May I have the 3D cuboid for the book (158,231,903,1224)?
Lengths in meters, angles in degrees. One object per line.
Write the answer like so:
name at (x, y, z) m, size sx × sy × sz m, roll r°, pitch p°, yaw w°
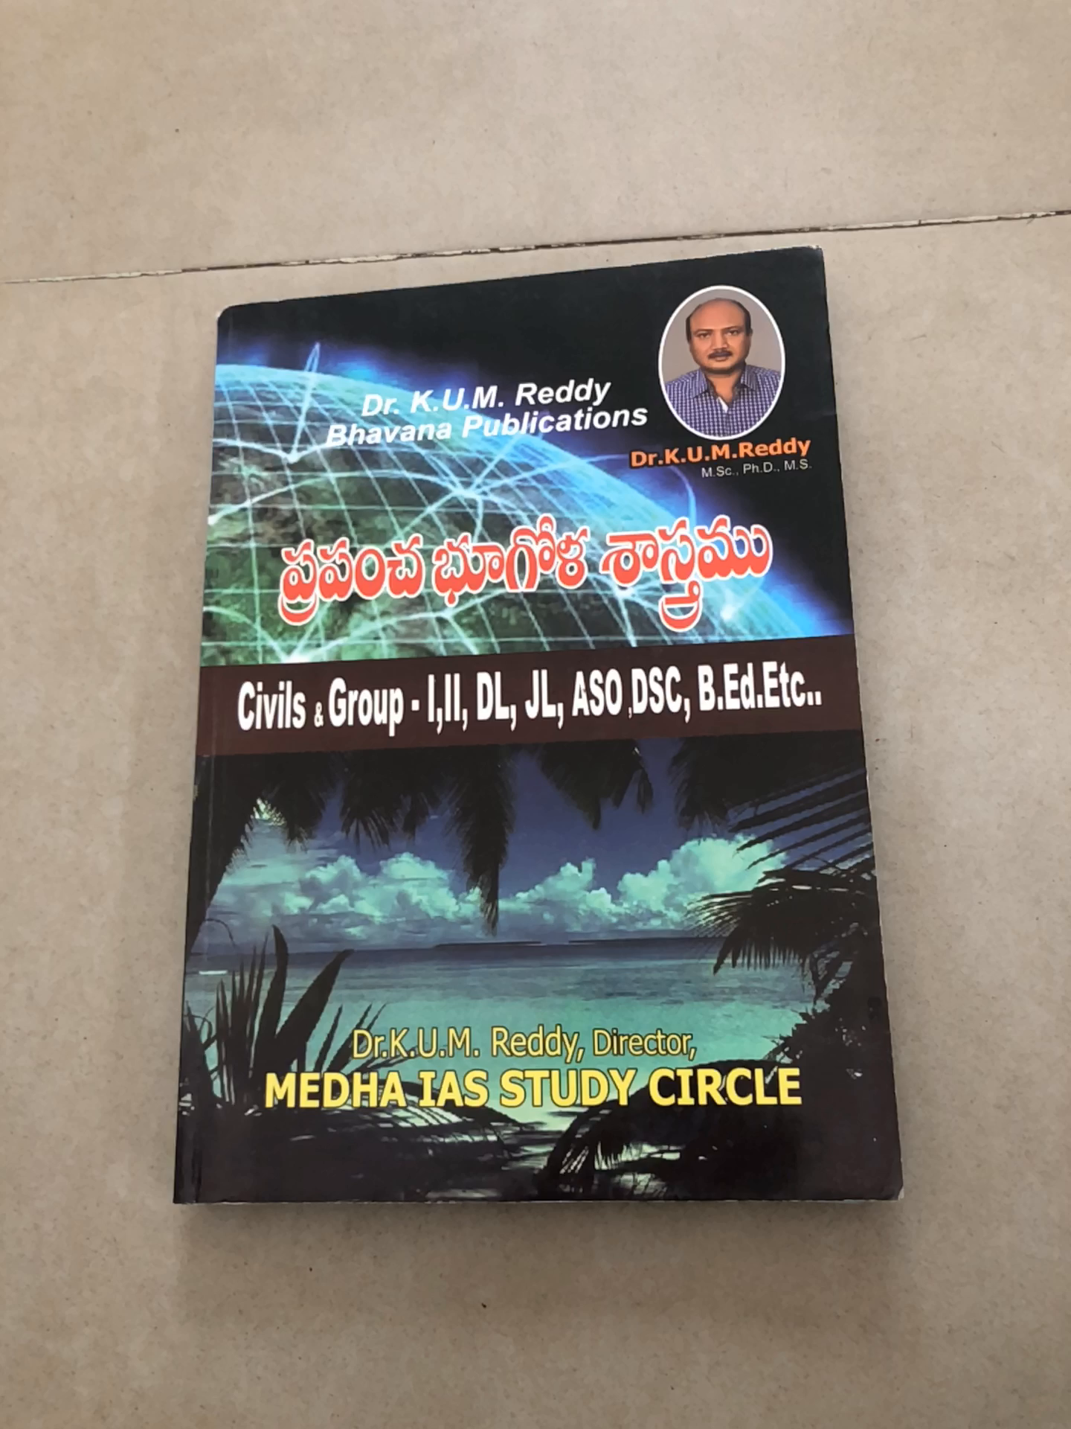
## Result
book at (-0.006, -0.002, 0.329) m, size 0.180 × 0.030 × 0.260 m, roll -3°, pitch 77°, yaw 6°
